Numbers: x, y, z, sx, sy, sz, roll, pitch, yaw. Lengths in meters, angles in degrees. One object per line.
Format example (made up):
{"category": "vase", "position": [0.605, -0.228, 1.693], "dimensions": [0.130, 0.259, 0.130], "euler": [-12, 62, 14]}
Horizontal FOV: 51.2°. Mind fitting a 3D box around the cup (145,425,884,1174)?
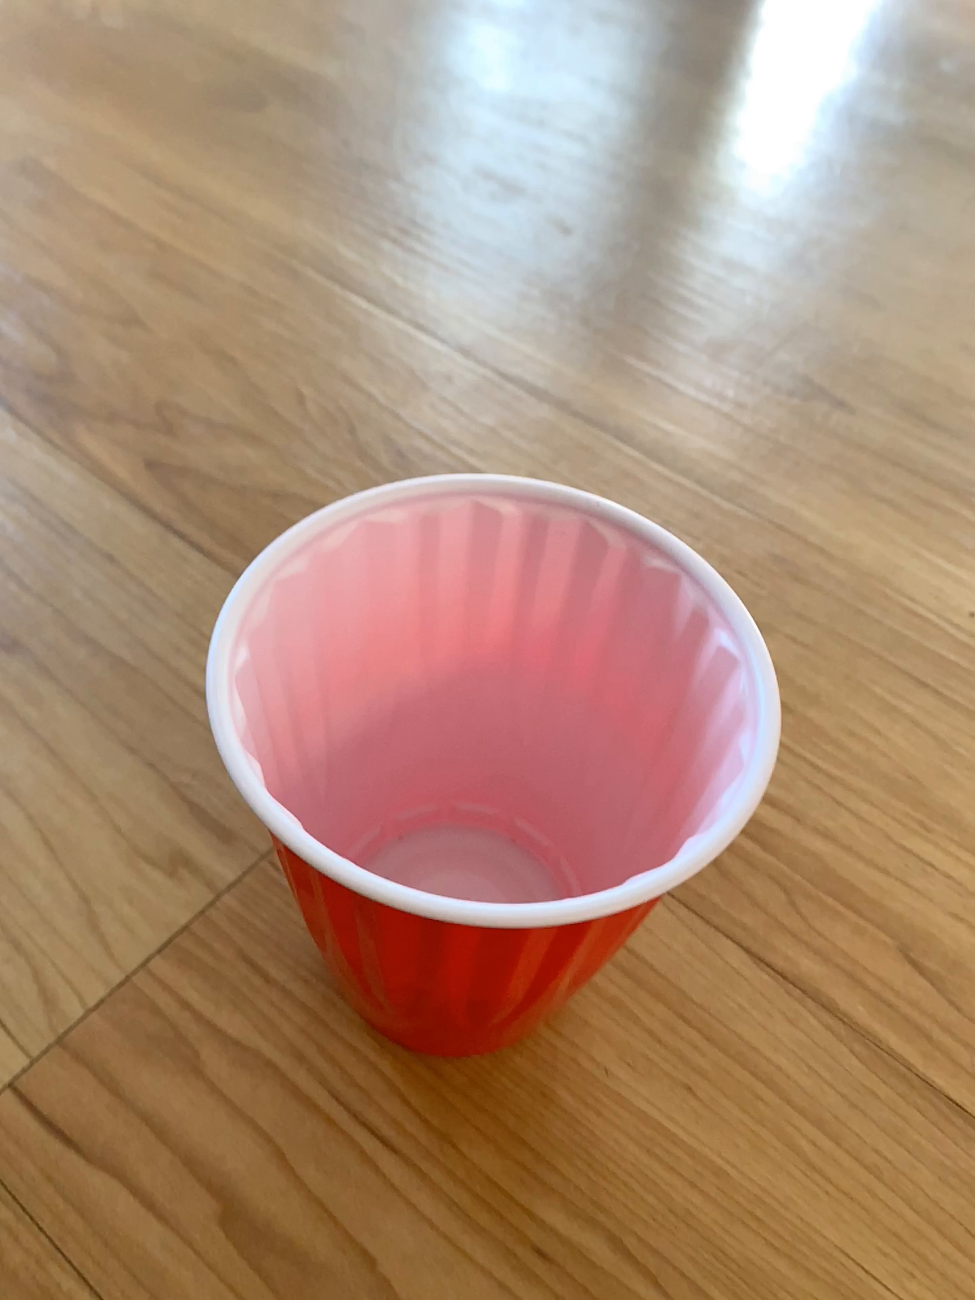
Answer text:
{"category": "cup", "position": [-0.006, 0.027, 0.202], "dimensions": [0.100, 0.090, 0.100], "euler": [3, 50, -4]}
